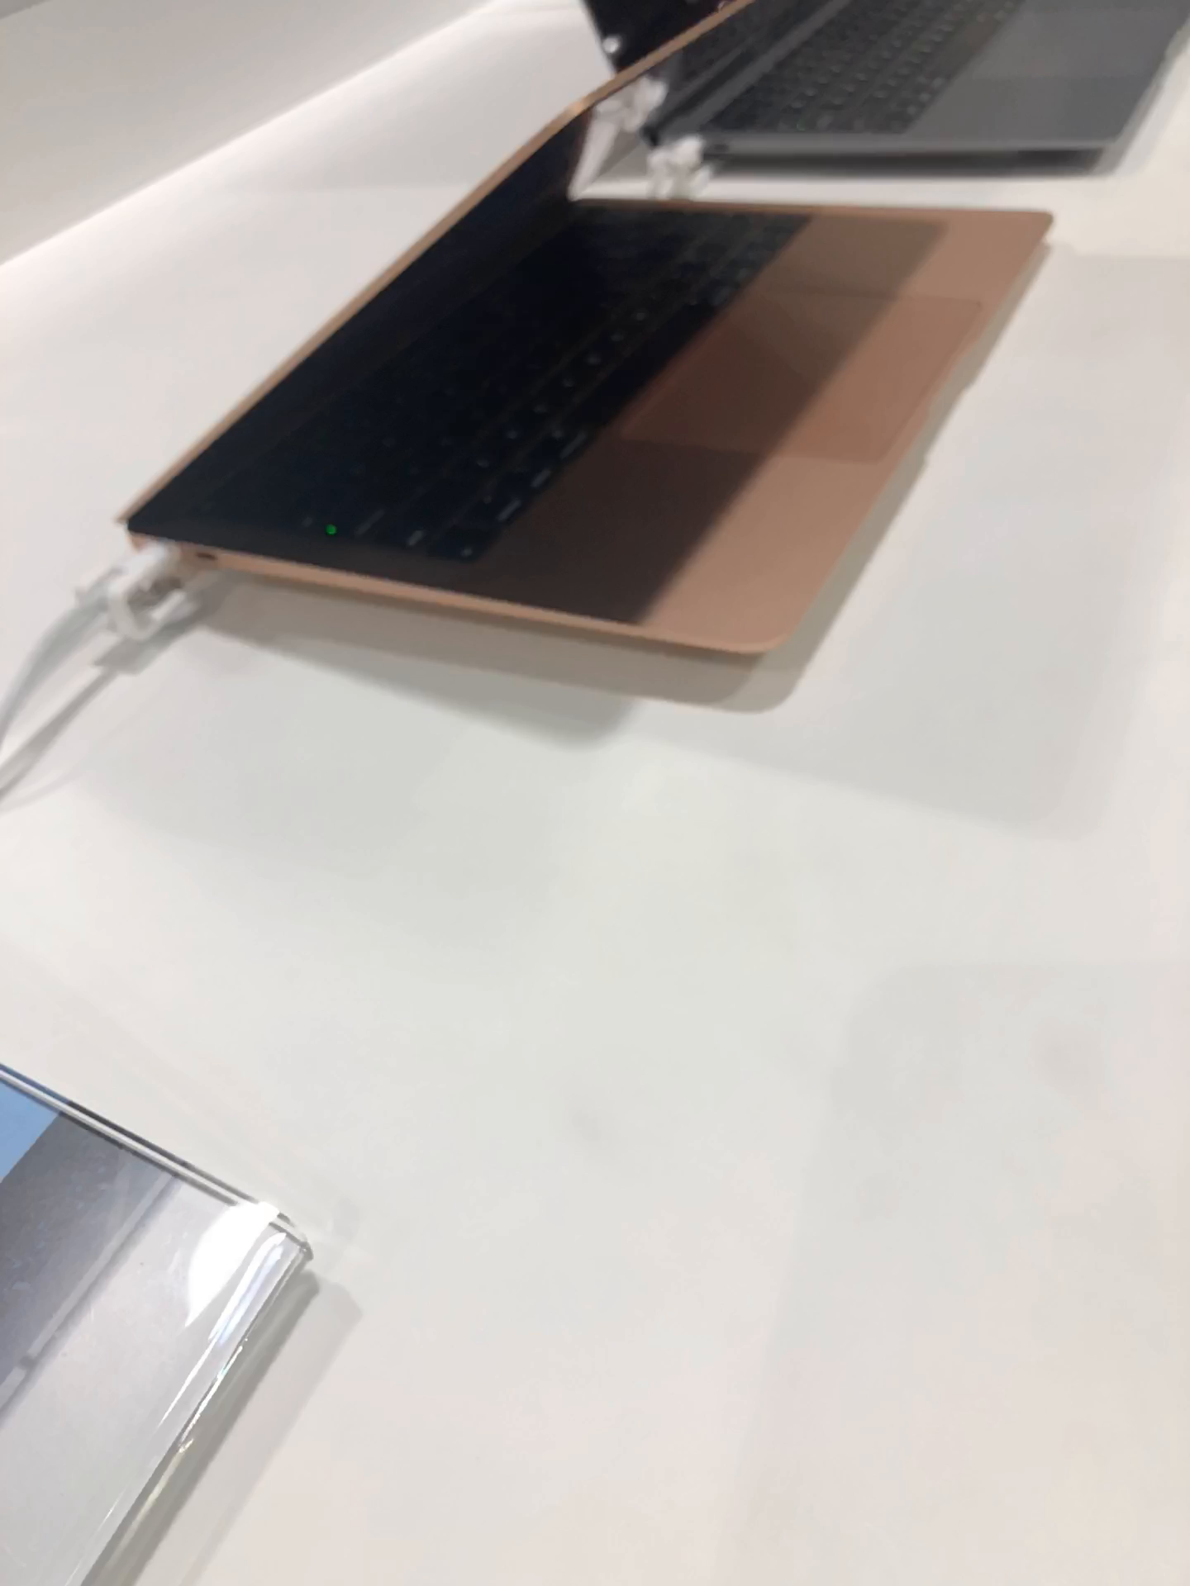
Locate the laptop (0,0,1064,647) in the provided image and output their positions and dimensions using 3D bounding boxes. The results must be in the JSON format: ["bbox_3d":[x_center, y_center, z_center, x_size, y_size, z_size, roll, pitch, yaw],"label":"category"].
[{"bbox_3d":[0.010,-0.188,0.416,0.199,0.106,0.297,13,45,24],"label":"laptop"}]
